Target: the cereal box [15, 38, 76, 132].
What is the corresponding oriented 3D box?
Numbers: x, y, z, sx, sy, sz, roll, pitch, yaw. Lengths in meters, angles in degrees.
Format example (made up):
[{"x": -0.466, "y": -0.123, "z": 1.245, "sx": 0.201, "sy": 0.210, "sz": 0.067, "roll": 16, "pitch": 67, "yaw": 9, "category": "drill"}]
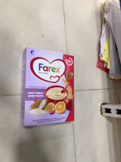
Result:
[{"x": -0.037, "y": 0.012, "z": 0.345, "sx": 0.150, "sy": 0.060, "sz": 0.210, "roll": 4, "pitch": 82, "yaw": -31, "category": "cereal box"}]
